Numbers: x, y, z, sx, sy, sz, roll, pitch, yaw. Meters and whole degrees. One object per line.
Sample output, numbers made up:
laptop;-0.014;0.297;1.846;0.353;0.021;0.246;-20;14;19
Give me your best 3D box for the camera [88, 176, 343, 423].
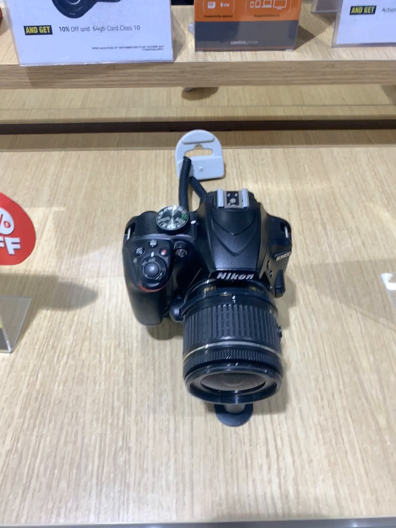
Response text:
camera;0.007;0.021;0.269;0.120;0.090;0.130;-2;50;-1
